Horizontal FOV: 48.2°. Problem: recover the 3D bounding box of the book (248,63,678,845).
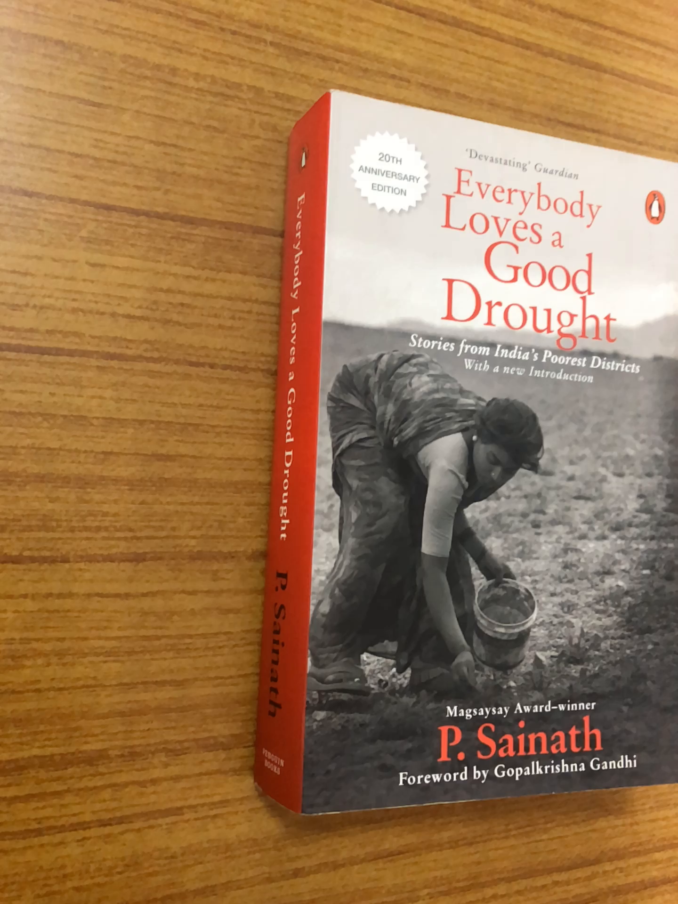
[{"bbox_3d":[0.049,0.003,0.247,0.140,0.040,0.210,5,85,-22],"label":"book"}]
